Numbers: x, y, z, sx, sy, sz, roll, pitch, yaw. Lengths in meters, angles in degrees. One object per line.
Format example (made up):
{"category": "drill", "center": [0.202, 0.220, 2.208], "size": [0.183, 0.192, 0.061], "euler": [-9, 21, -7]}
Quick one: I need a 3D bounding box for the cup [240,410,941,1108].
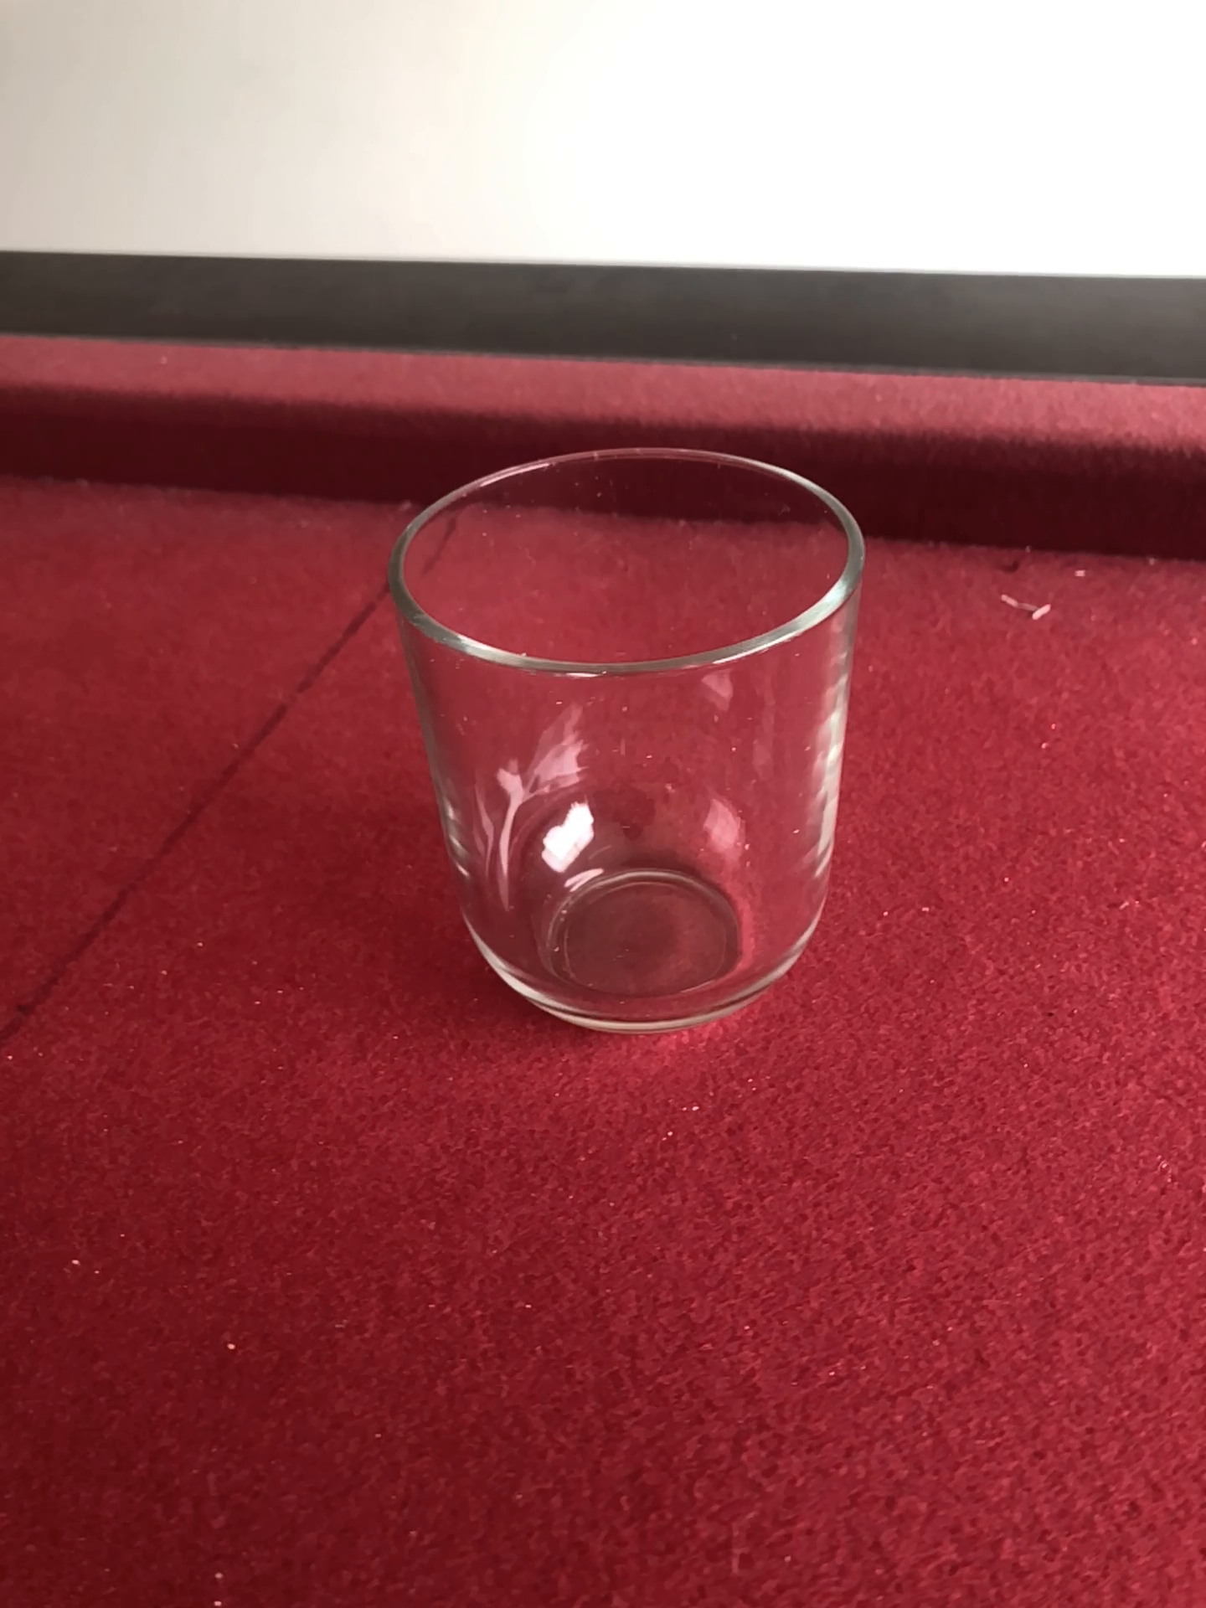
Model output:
{"category": "cup", "center": [0.004, -0.013, 0.226], "size": [0.080, 0.070, 0.081], "euler": [-3, 37, 2]}
